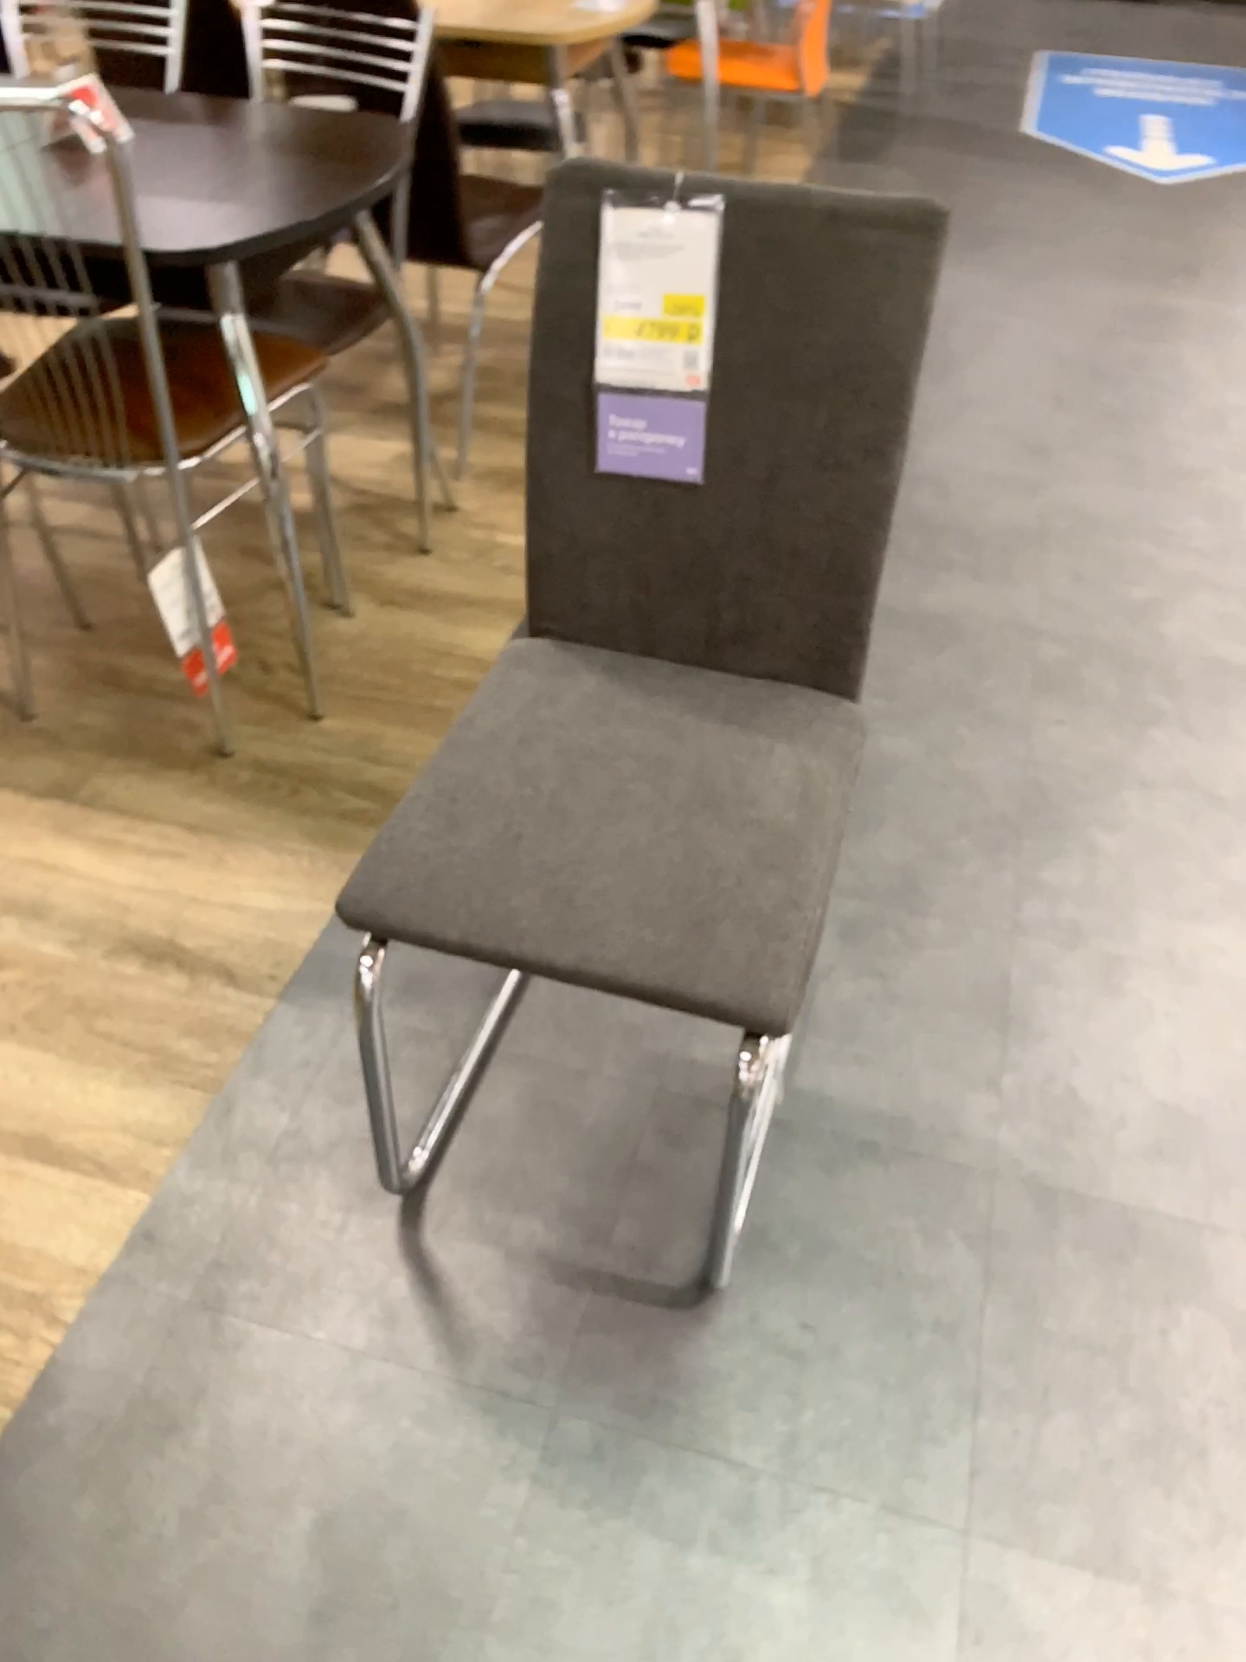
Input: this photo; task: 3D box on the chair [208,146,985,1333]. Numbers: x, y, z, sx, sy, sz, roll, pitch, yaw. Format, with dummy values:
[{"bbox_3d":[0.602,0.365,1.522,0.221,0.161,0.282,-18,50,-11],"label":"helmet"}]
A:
[{"bbox_3d":[0.013,-0.053,1.274,0.435,0.975,0.542,12,42,11],"label":"chair"}]
